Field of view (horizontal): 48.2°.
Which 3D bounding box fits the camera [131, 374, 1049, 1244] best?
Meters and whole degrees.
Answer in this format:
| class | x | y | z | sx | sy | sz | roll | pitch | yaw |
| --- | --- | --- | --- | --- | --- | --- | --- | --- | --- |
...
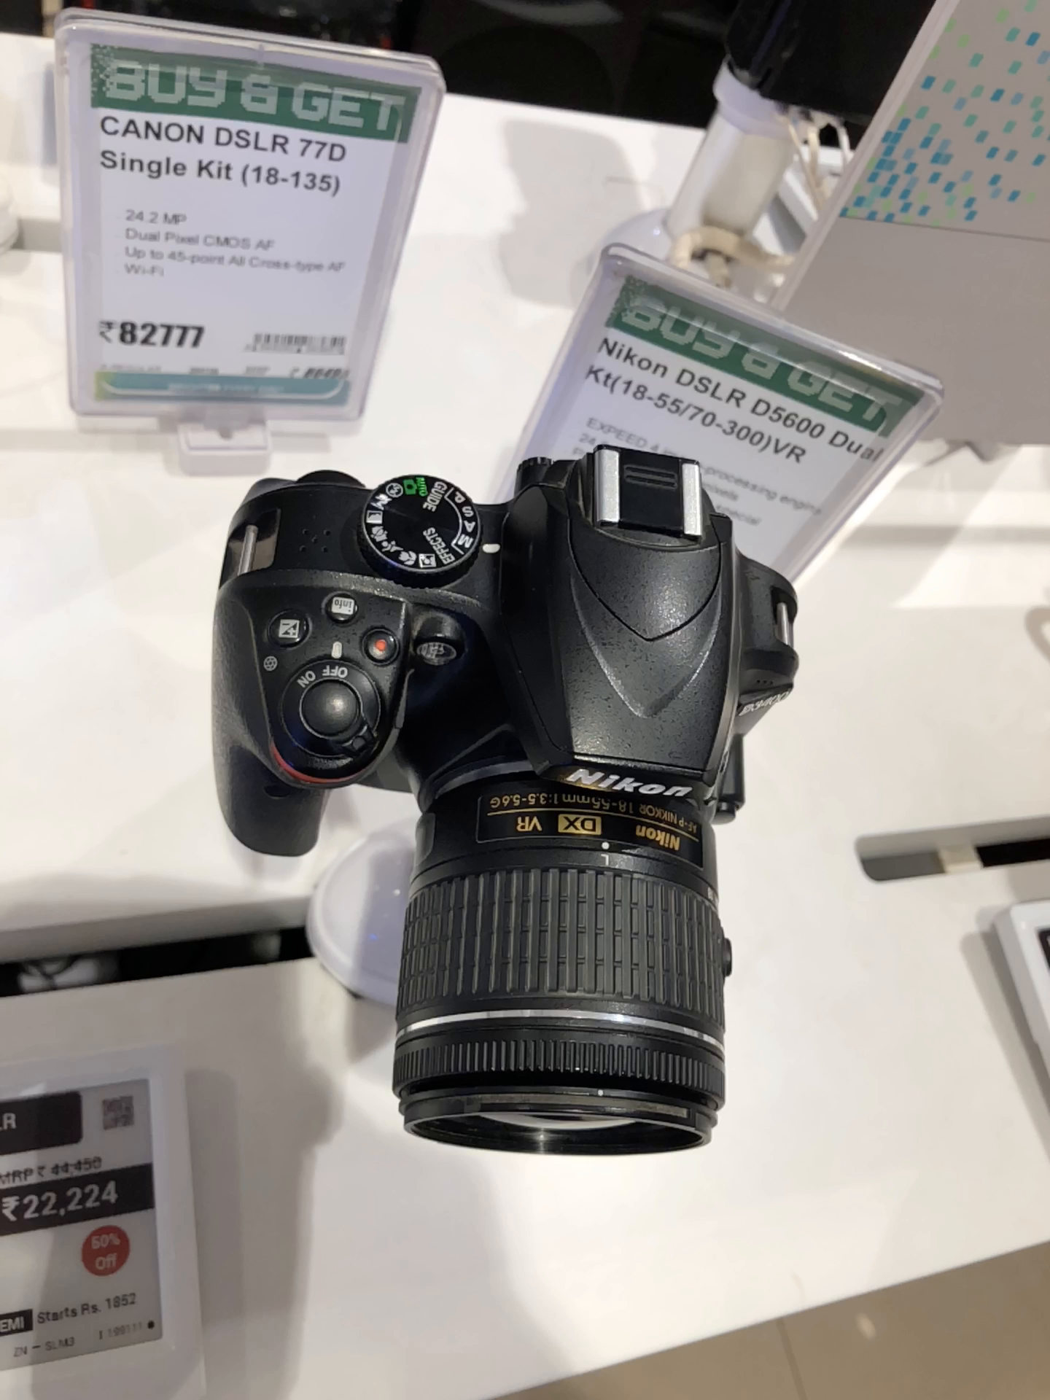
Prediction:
| class | x | y | z | sx | sy | sz | roll | pitch | yaw |
| --- | --- | --- | --- | --- | --- | --- | --- | --- | --- |
| camera | 0.005 | 0.028 | 0.215 | 0.130 | 0.090 | 0.120 | 7 | 58 | -15 |
